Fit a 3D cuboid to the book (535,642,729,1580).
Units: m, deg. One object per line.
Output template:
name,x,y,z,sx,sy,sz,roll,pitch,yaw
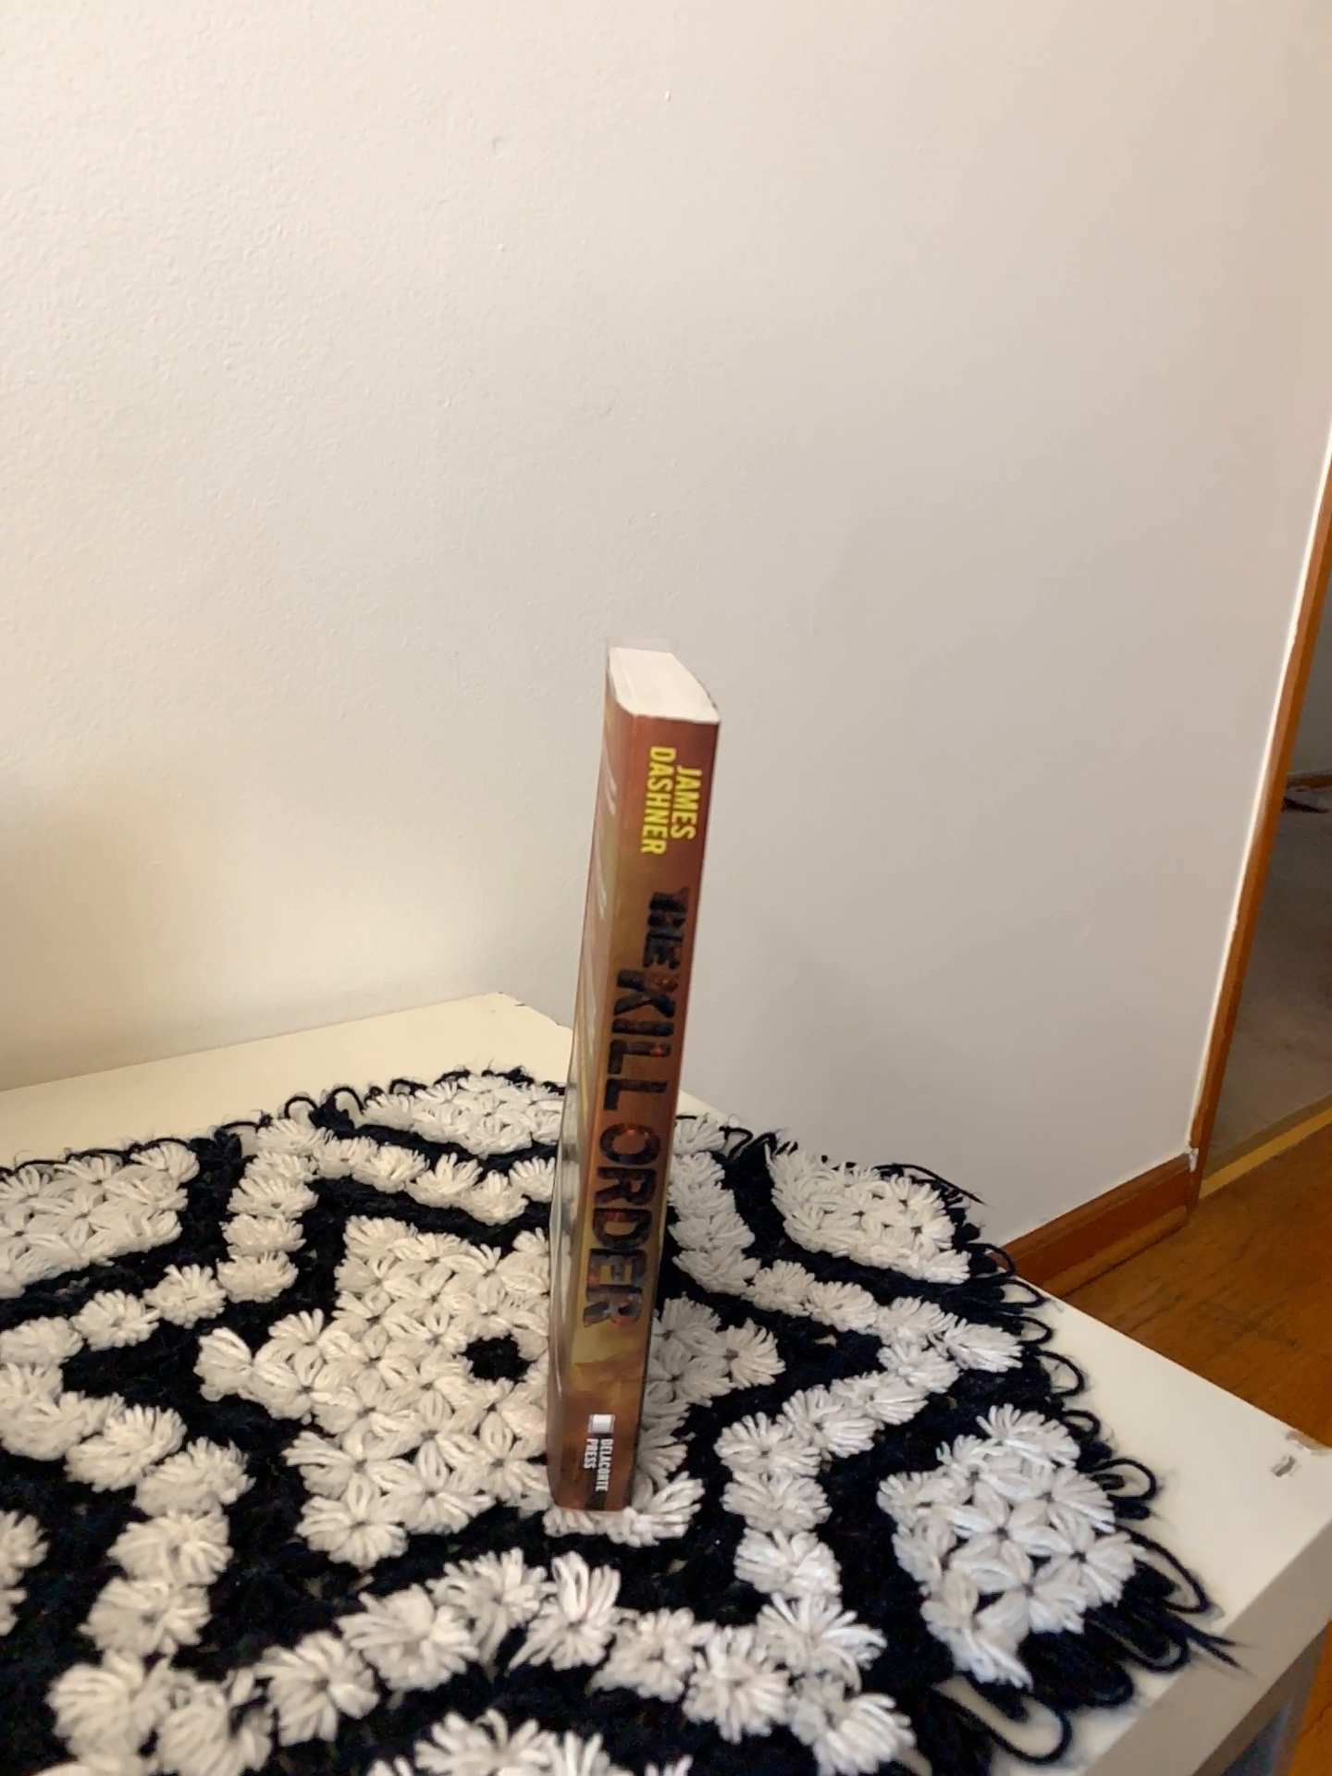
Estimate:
book,-0.014,0.047,0.396,0.030,0.219,0.161,4,14,-4
